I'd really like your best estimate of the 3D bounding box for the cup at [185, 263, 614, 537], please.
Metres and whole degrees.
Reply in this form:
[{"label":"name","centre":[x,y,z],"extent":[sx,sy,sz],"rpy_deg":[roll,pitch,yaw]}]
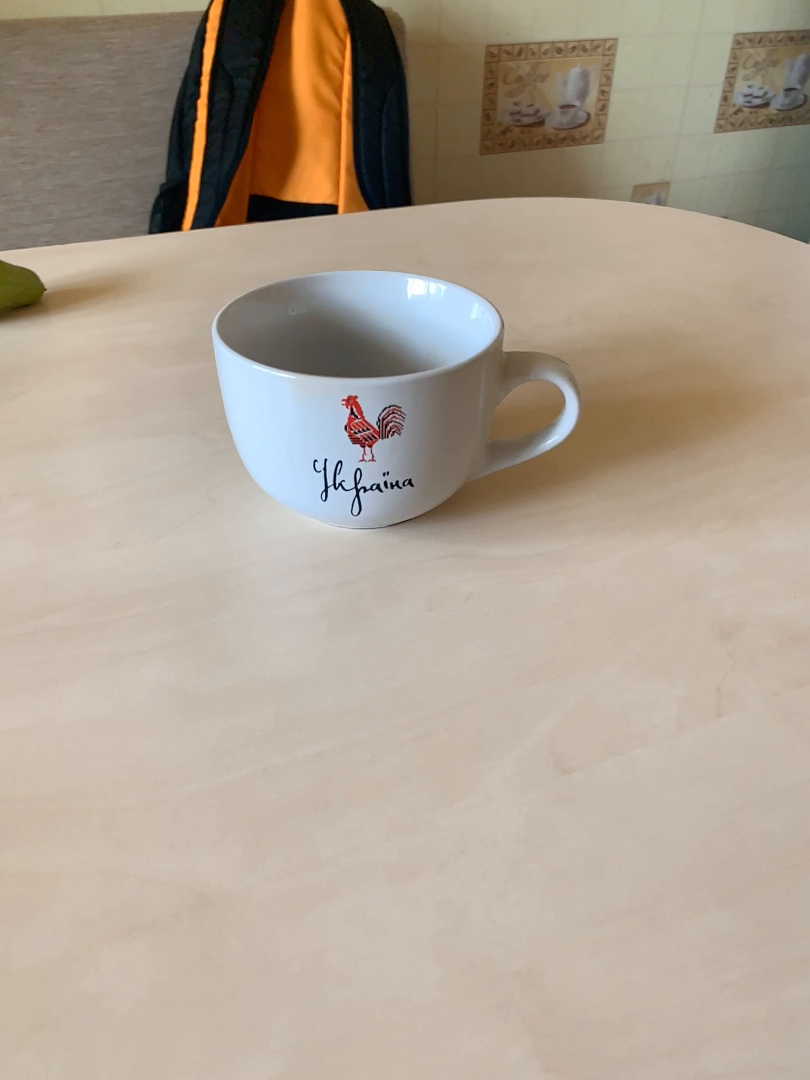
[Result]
[{"label":"cup","centre":[-0.001,-0.056,0.311],"extent":[0.130,0.060,0.100],"rpy_deg":[1,36,0]}]
